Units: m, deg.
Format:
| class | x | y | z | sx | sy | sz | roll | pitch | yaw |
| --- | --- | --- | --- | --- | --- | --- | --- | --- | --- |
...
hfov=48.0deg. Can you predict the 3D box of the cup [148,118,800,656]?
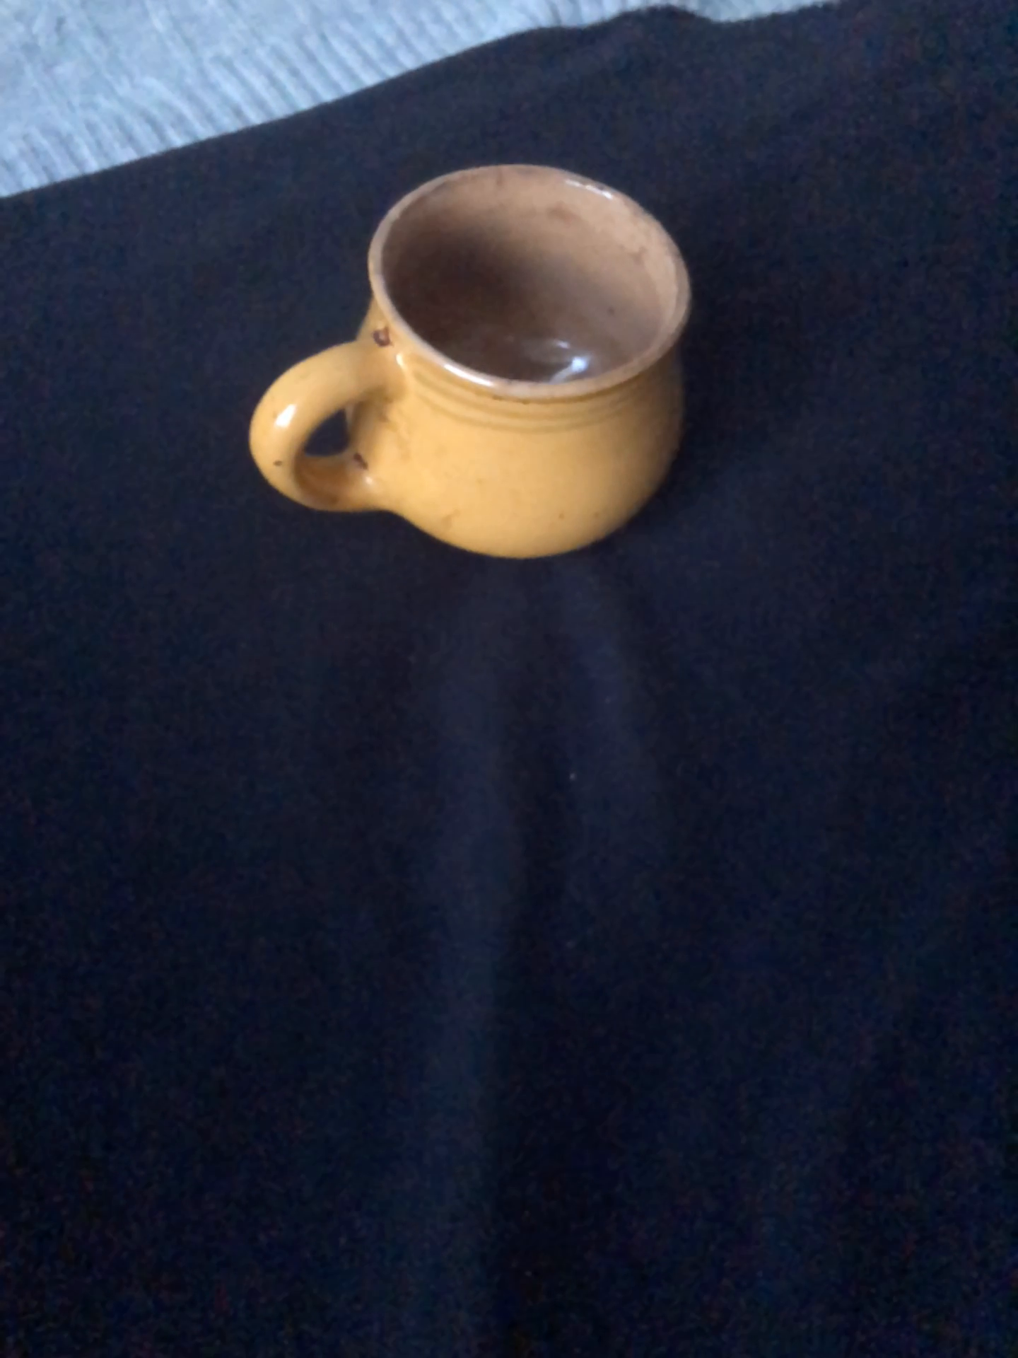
| class | x | y | z | sx | sy | sz | roll | pitch | yaw |
| --- | --- | --- | --- | --- | --- | --- | --- | --- | --- |
| cup | -0.010 | -0.073 | 0.275 | 0.119 | 0.058 | 0.082 | -21 | 65 | -18 |
